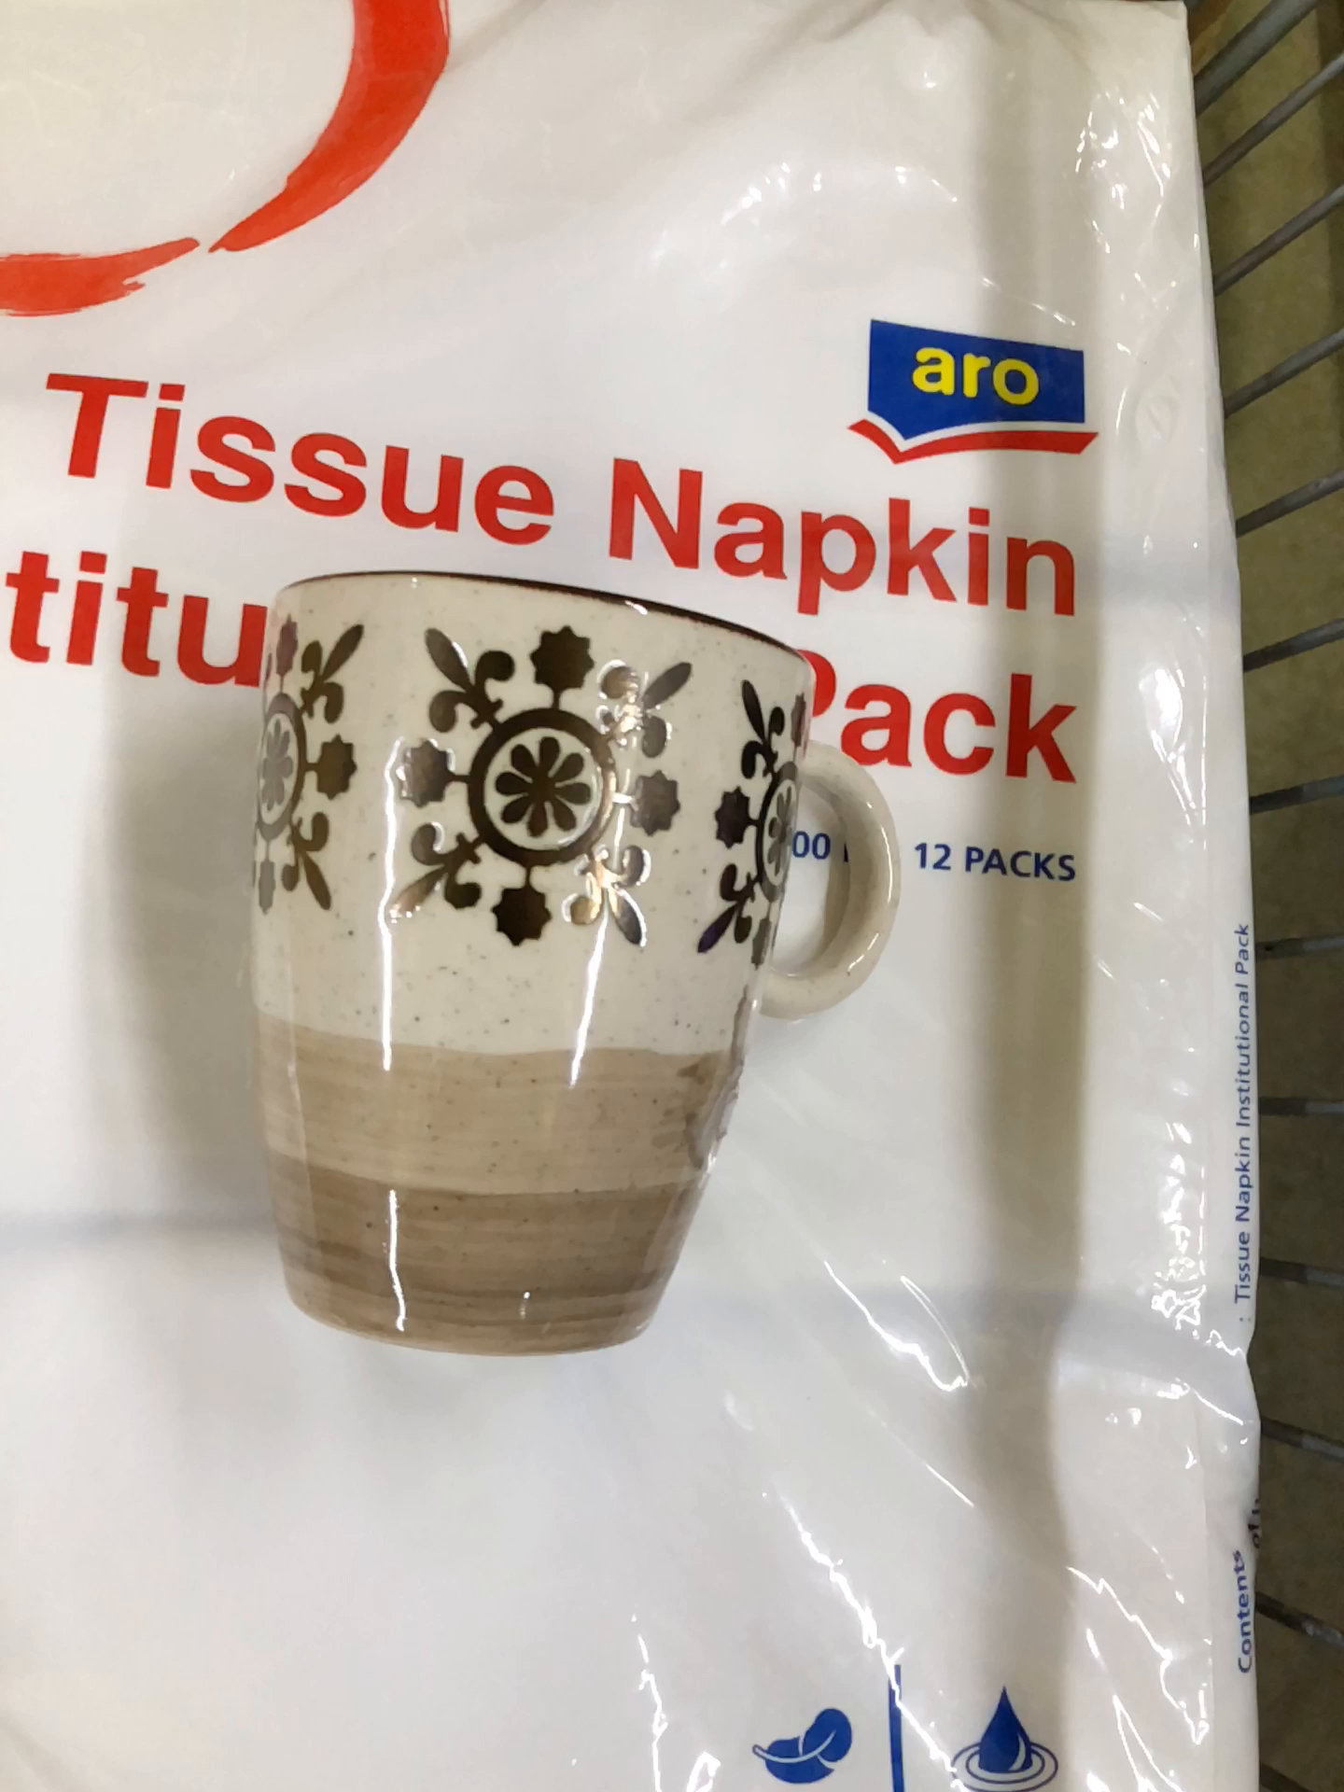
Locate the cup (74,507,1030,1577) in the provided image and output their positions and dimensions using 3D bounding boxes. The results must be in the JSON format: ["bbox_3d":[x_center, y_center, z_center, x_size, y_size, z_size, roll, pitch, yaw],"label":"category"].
[{"bbox_3d":[-0.014,0.020,0.212,0.100,0.070,0.110,11,84,-40],"label":"cup"}]
